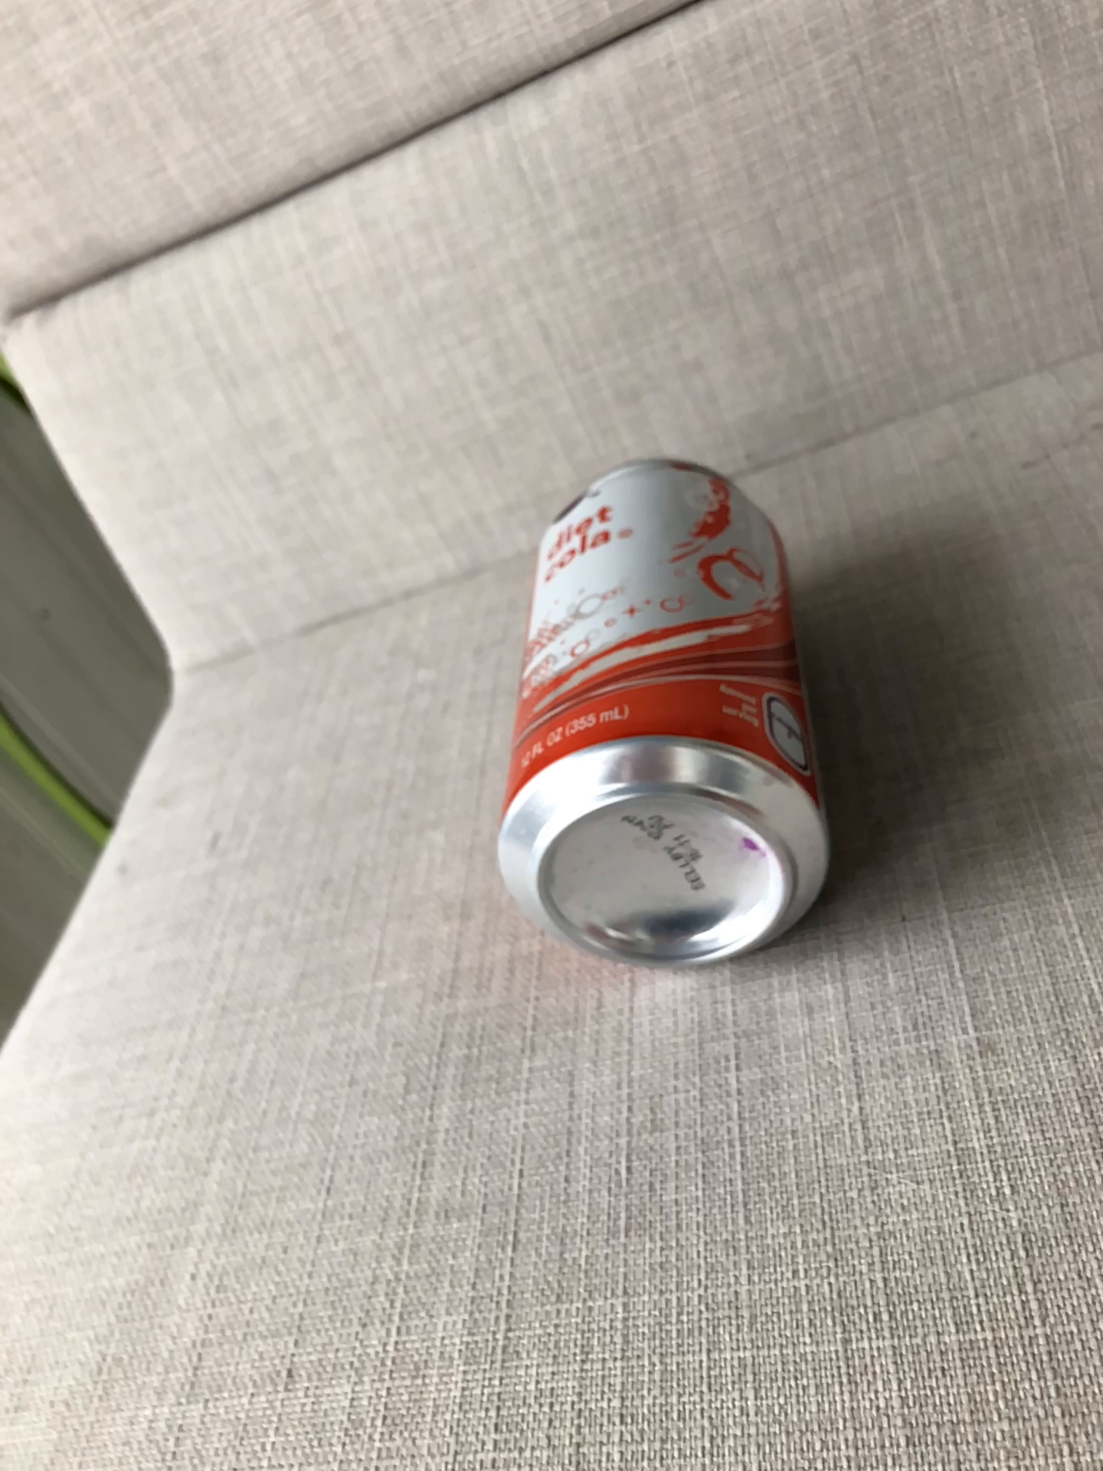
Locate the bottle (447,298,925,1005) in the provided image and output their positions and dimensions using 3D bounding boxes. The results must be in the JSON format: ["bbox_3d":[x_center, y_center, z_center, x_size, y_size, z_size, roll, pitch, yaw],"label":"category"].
[{"bbox_3d":[0.029,-0.026,0.281,0.070,0.062,0.150,-16,40,17],"label":"bottle"}]
